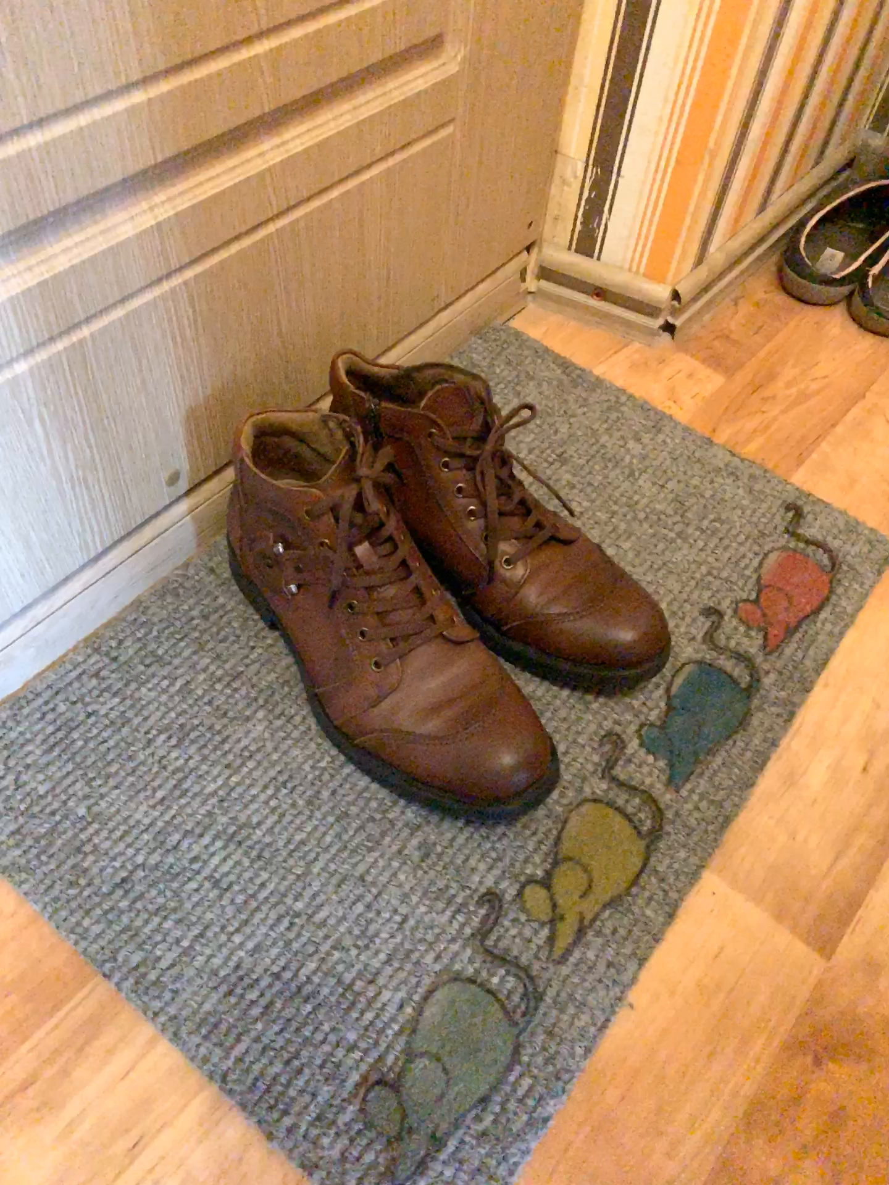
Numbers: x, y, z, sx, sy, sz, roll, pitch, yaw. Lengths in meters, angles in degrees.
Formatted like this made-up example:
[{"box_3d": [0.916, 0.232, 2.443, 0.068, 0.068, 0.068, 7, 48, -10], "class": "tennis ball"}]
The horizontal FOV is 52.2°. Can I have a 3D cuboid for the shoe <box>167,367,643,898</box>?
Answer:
[{"box_3d": [-0.034, 0.016, 0.523, 0.110, 0.140, 0.260, -31, 61, -26], "class": "shoe"}]

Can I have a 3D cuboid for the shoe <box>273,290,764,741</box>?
[{"box_3d": [0.034, -0.053, 0.579, 0.270, 0.140, 0.110, 33, 56, 18], "class": "shoe"}]
